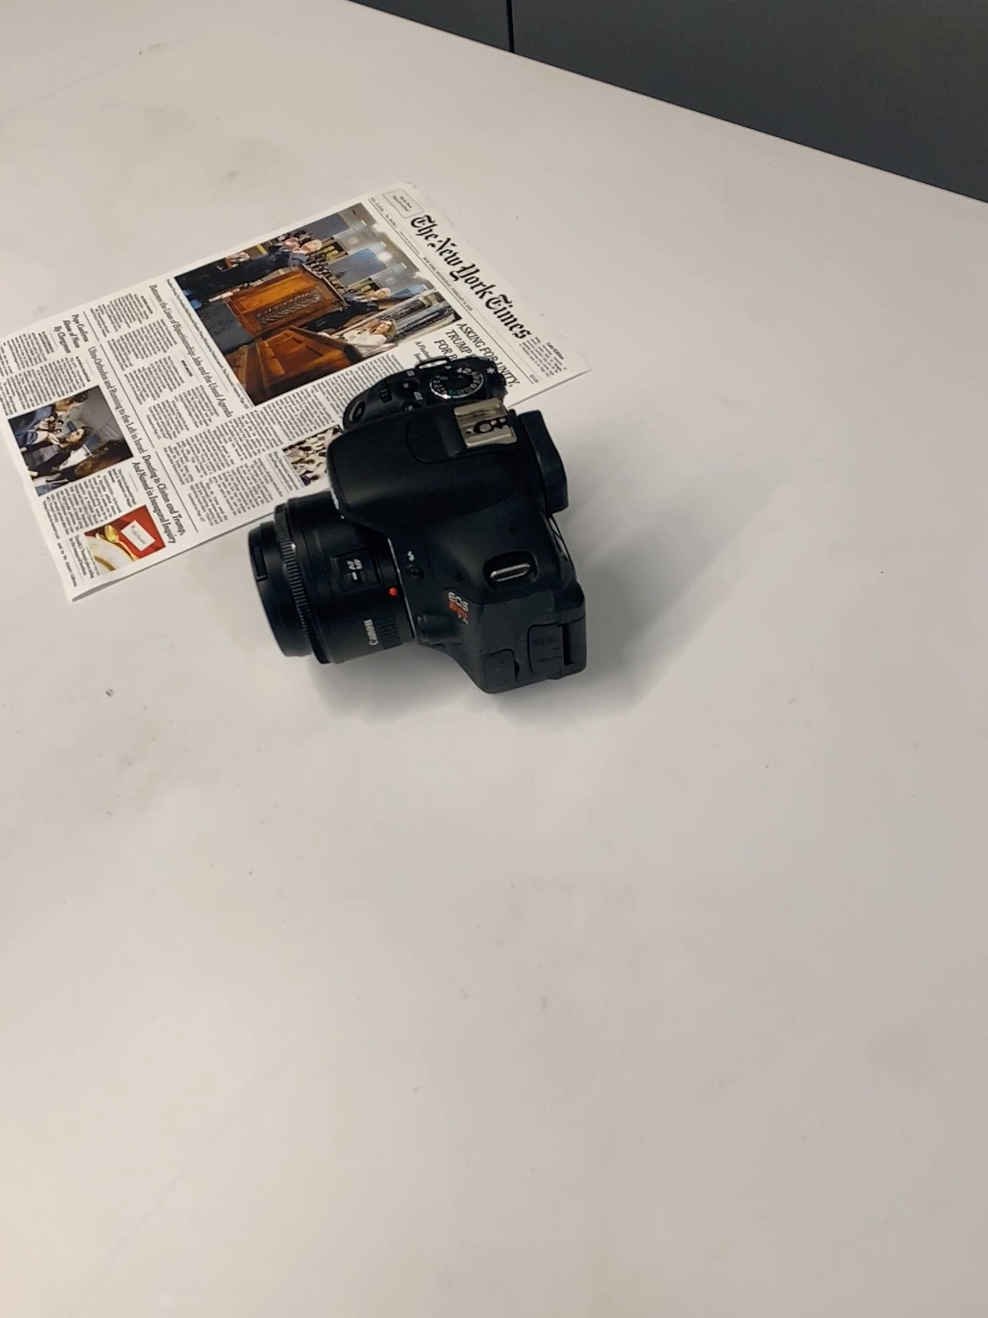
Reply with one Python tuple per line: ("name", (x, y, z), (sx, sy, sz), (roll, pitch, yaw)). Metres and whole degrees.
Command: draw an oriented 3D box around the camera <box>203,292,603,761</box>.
("camera", (-0.036, -0.055, 0.405), (0.119, 0.090, 0.136), (-16, 55, -5))
